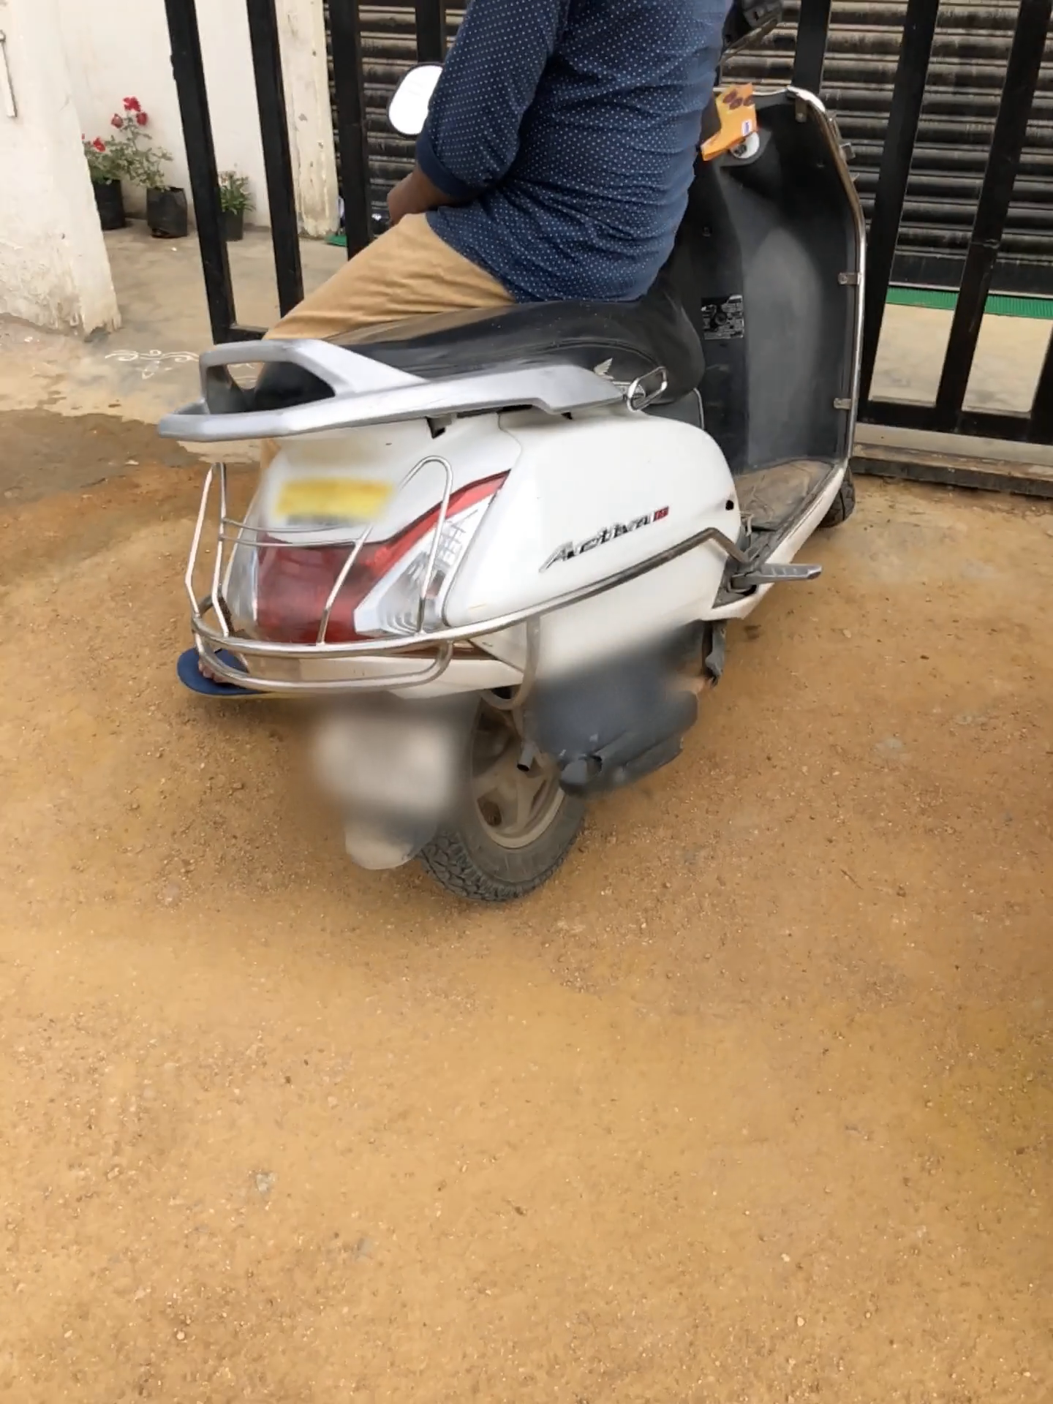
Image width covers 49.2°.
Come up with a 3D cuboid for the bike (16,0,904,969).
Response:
[{"bbox_3d":[0.090,-0.632,1.947,0.649,1.069,1.656,14,38,19],"label":"bike"}]
